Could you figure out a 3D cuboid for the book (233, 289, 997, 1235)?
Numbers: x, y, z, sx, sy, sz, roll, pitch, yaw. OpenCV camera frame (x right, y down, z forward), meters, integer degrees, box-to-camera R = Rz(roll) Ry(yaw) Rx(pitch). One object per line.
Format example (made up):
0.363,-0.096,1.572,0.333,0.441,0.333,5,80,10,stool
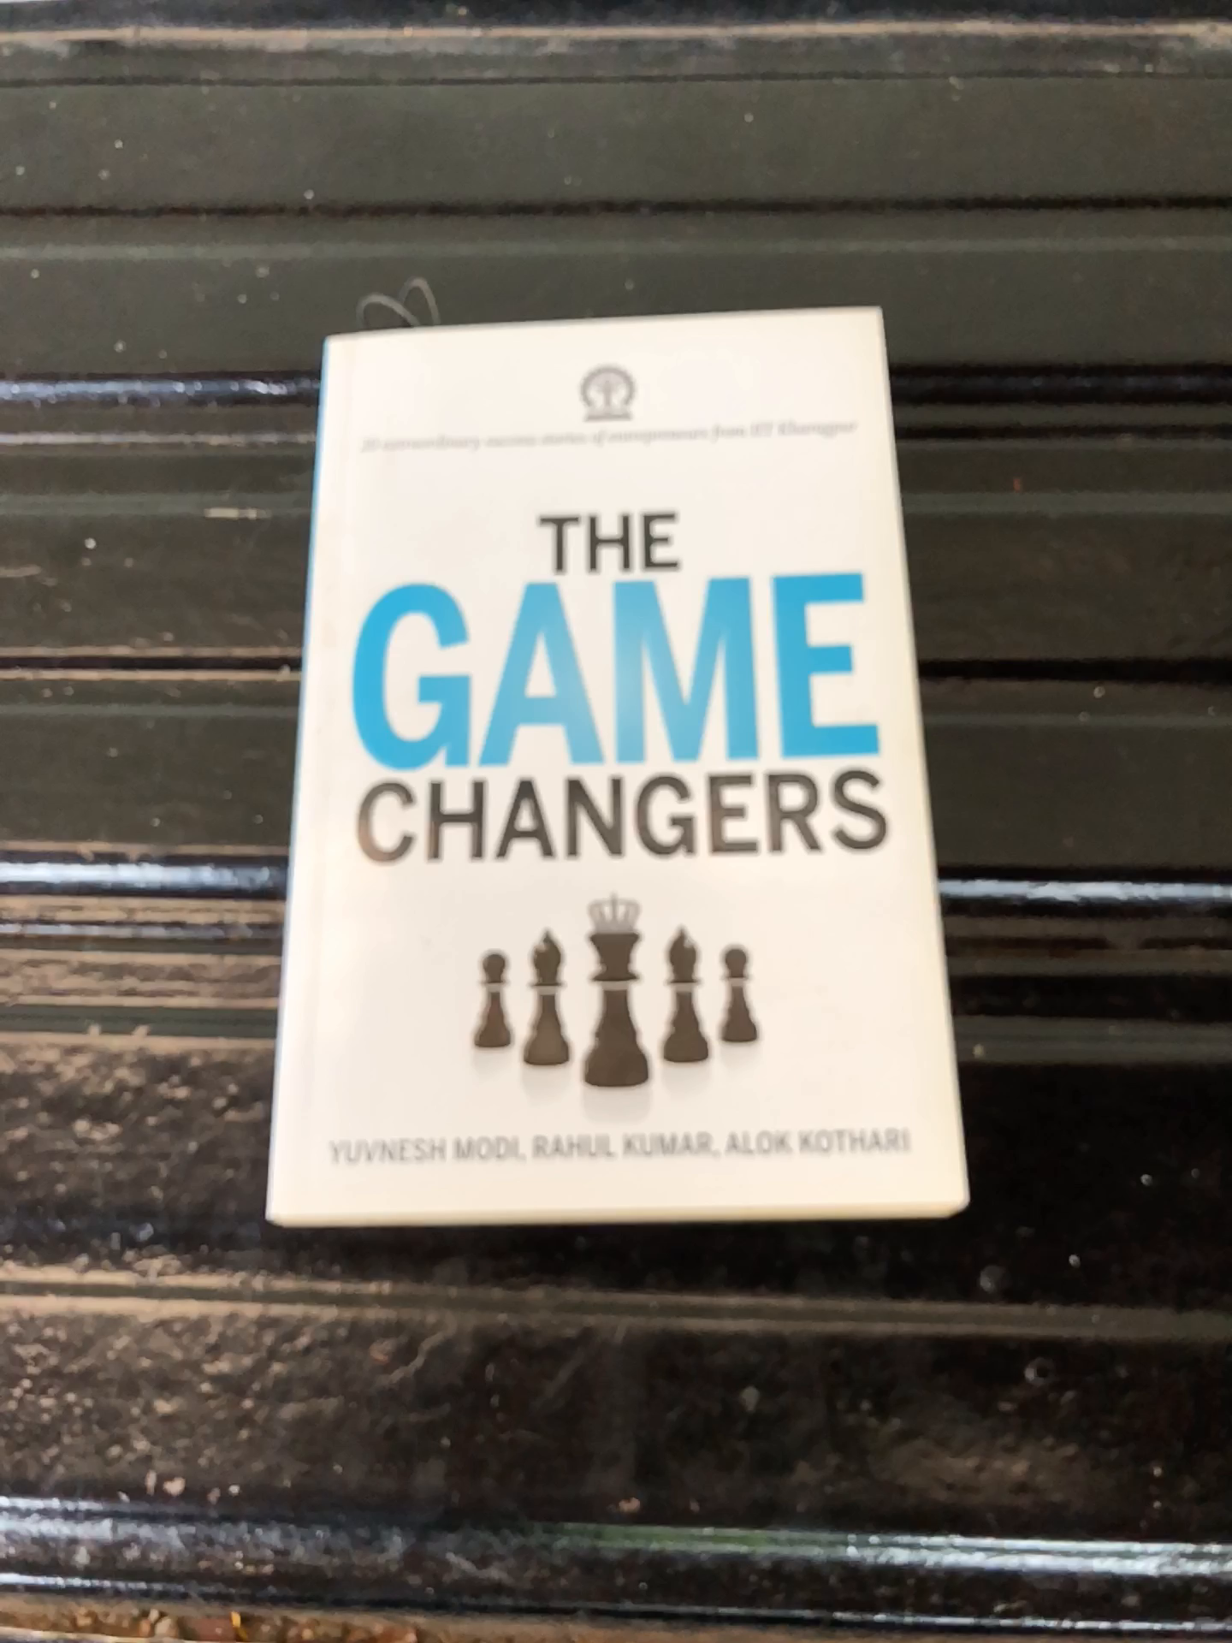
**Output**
-0.001,-0.017,0.282,0.130,0.030,0.190,-1,71,1,book
